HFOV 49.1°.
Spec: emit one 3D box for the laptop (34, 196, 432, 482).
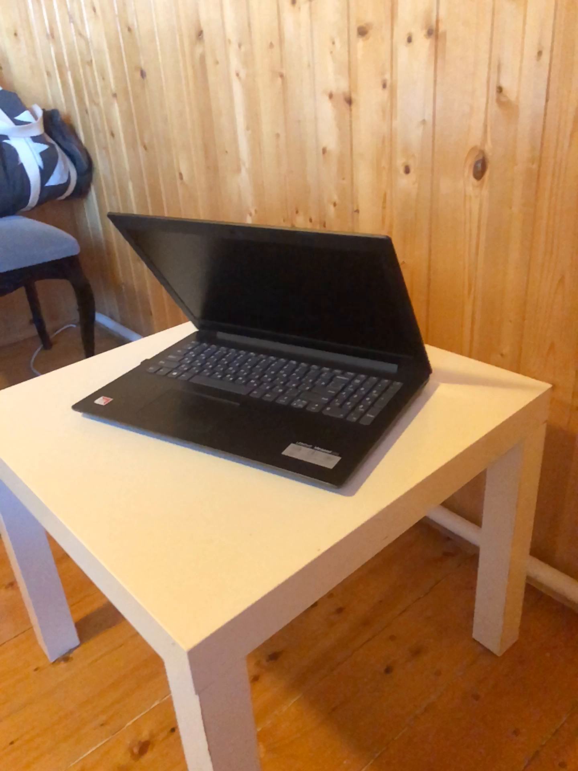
[{"bbox_3d":[-0.055,-0.087,0.751,0.373,0.206,0.251,12,31,30],"label":"laptop"}]
